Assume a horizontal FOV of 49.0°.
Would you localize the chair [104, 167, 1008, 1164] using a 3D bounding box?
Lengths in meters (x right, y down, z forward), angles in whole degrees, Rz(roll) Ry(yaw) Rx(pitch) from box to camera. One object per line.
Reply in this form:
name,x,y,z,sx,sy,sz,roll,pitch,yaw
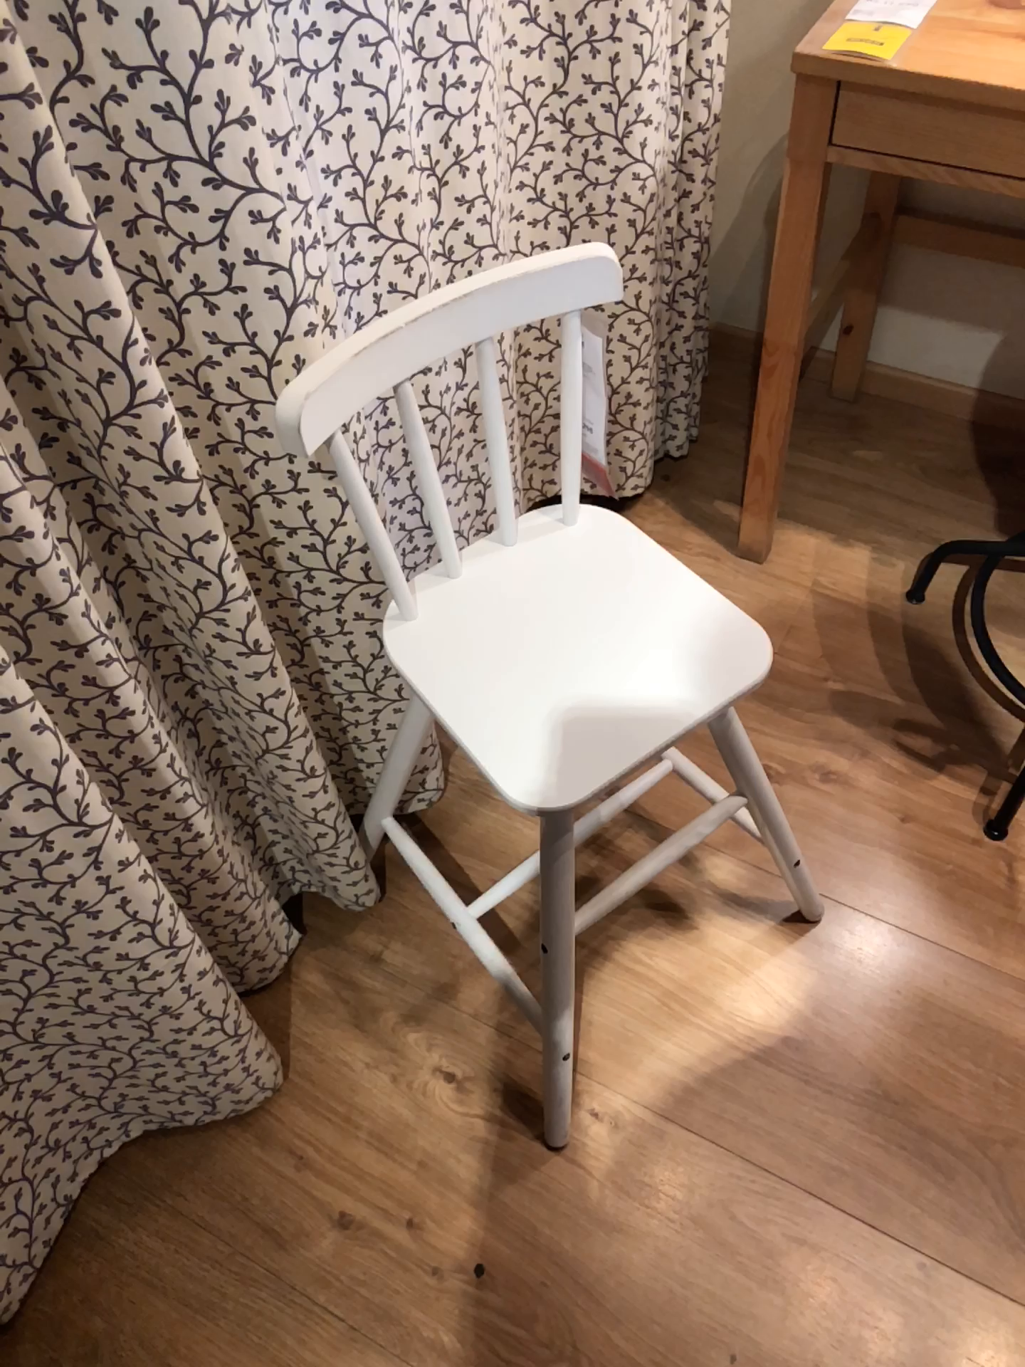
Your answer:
chair,0.039,0.024,1.041,0.421,0.706,0.452,-35,57,-20
